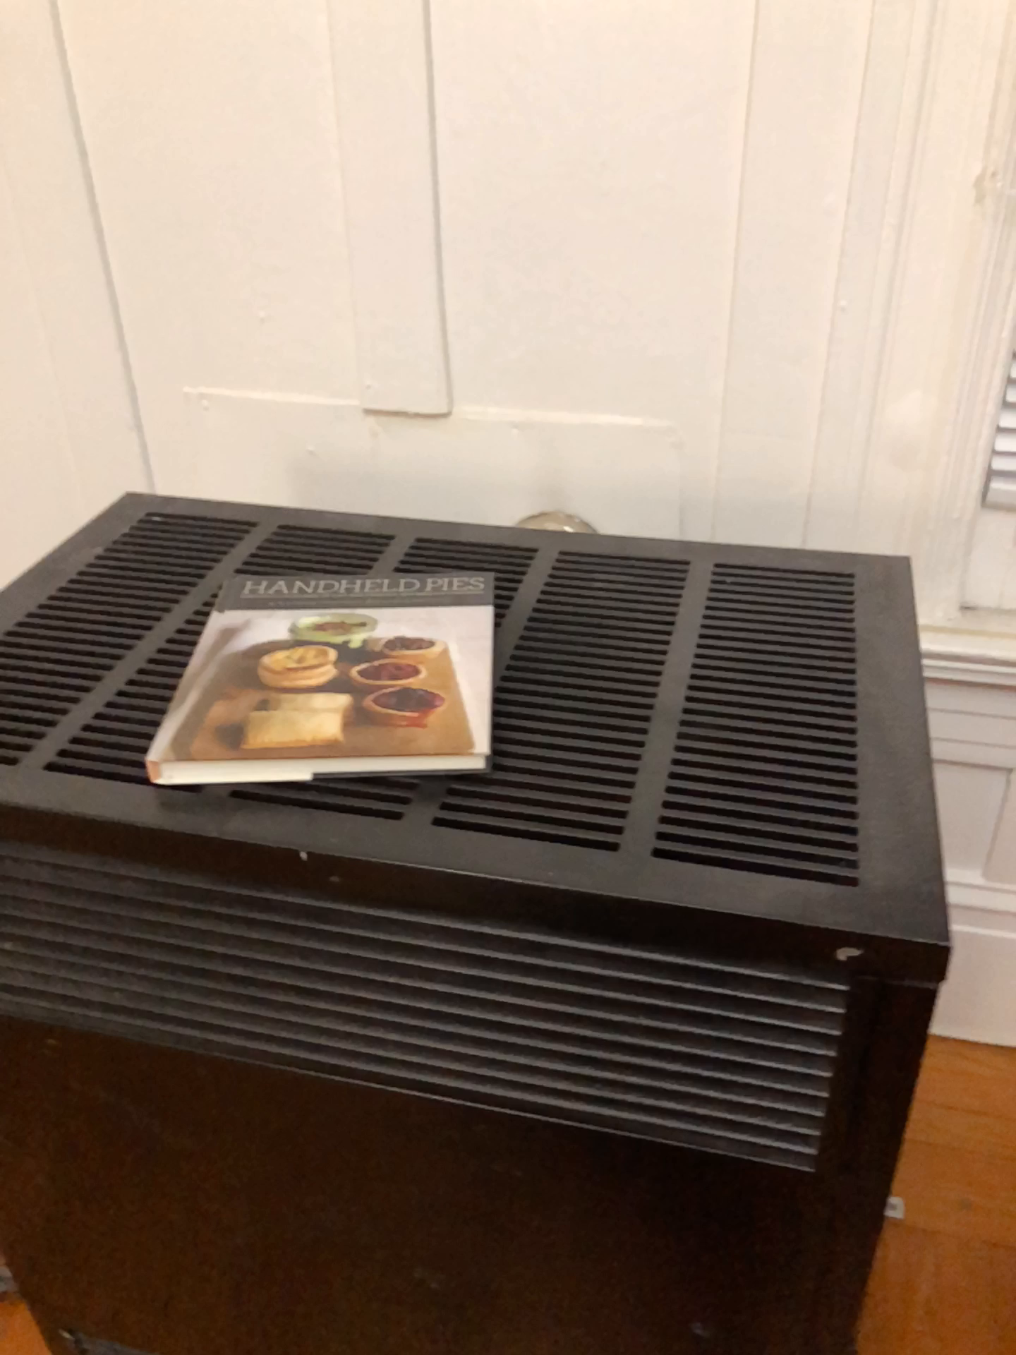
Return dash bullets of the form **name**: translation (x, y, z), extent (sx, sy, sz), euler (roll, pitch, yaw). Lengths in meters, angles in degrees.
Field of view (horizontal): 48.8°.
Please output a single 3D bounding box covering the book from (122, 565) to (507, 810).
- **book**: translation (-0.101, -0.004, 0.685), extent (0.200, 0.020, 0.231), euler (-2, 32, 1)
